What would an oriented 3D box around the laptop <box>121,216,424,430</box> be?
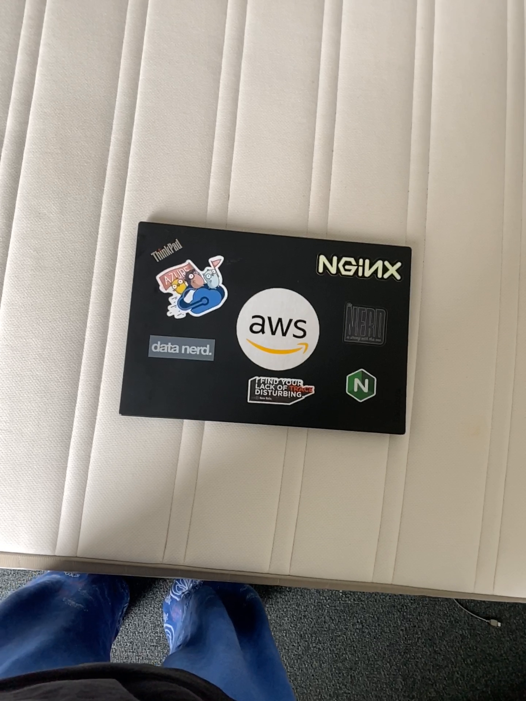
[{"bbox_3d":[0.018,-0.033,0.611,0.322,0.014,0.224,5,79,-3],"label":"laptop"}]
